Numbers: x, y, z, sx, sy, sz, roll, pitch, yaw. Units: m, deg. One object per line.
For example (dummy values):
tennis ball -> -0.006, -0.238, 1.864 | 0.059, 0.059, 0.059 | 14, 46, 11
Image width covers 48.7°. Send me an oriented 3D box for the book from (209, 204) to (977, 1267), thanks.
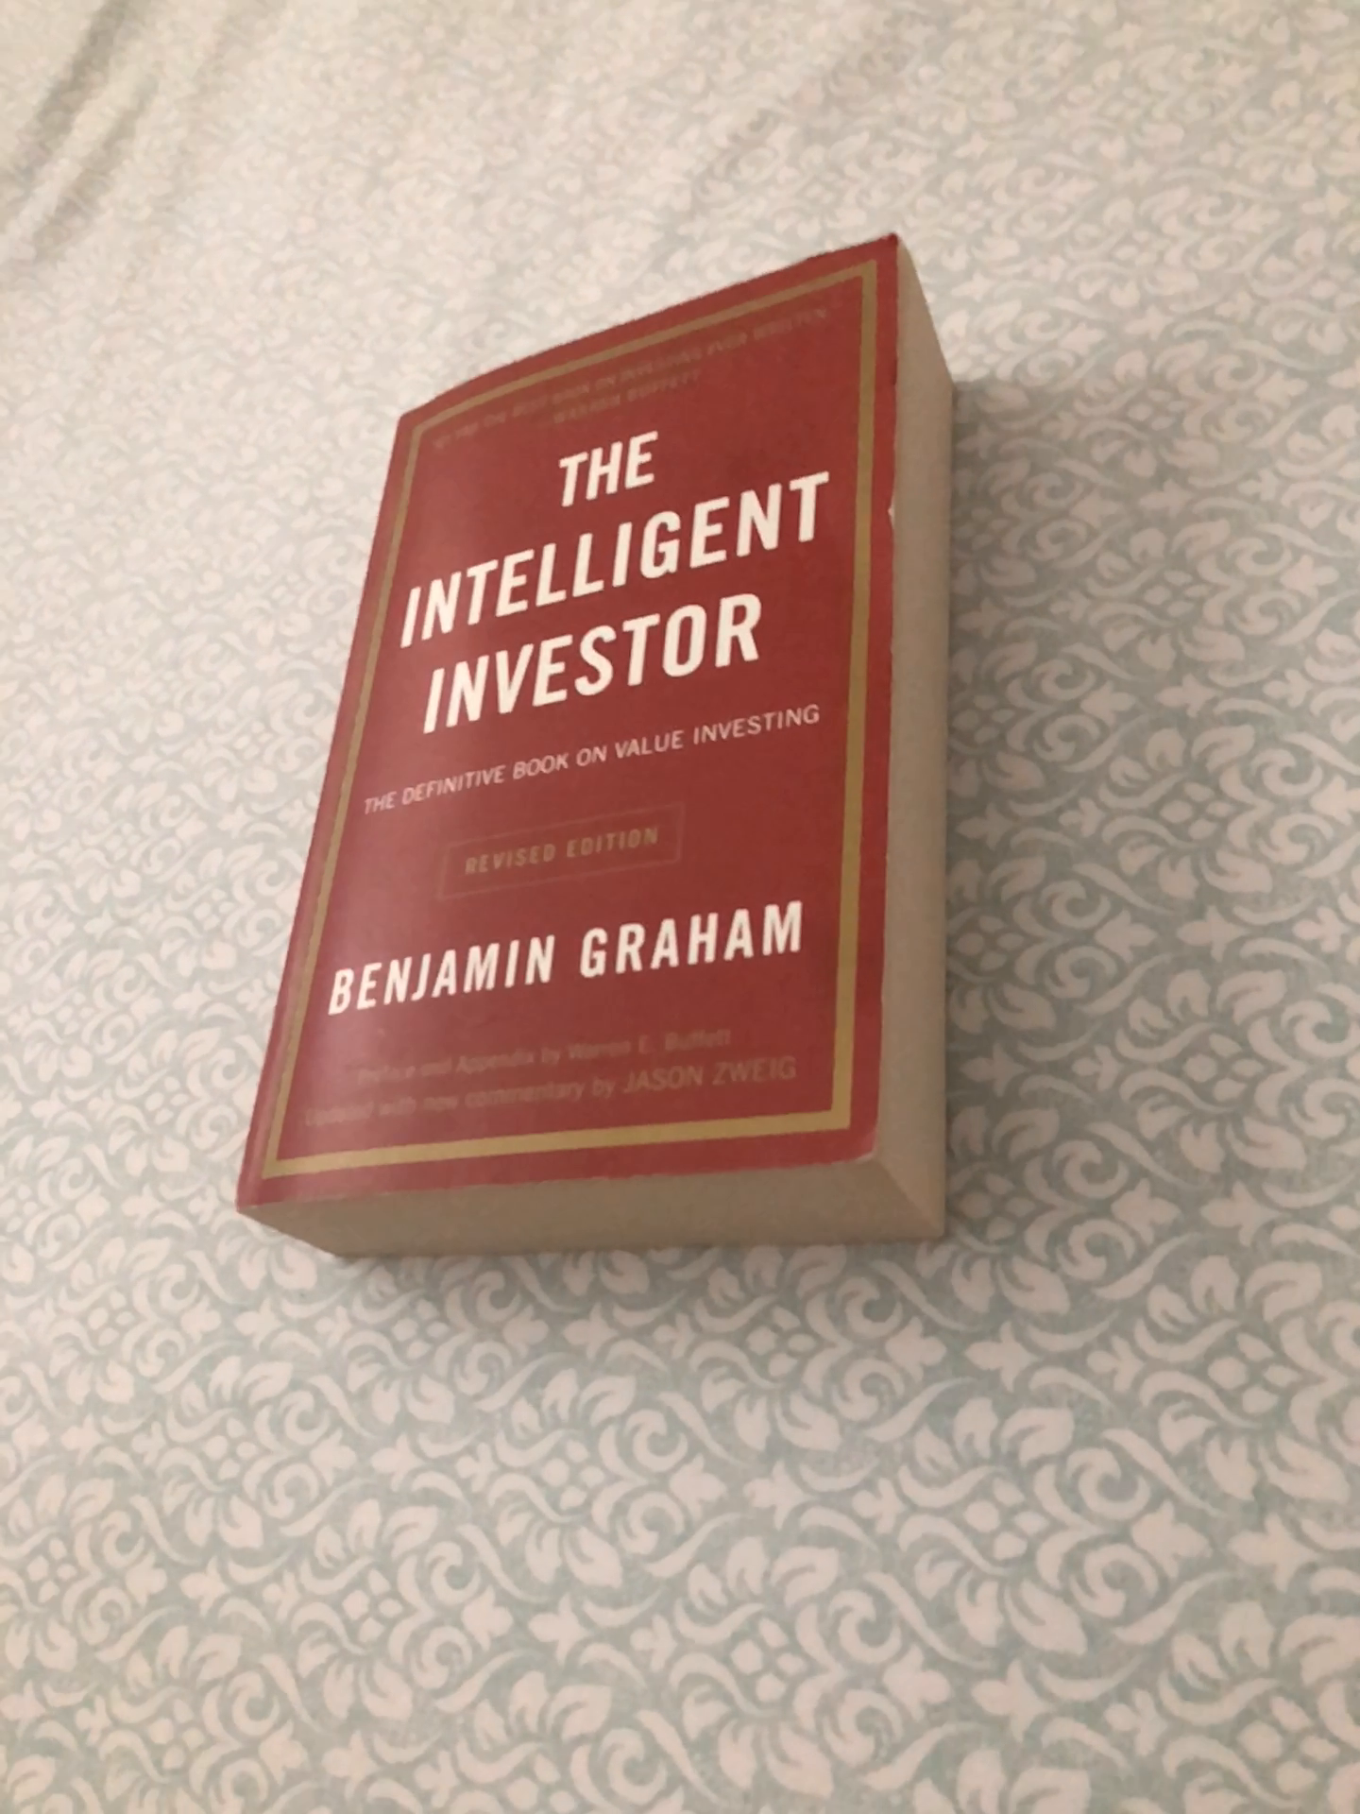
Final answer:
book -> -0.011, -0.034, 0.311 | 0.130, 0.050, 0.200 | -9, 61, 26
